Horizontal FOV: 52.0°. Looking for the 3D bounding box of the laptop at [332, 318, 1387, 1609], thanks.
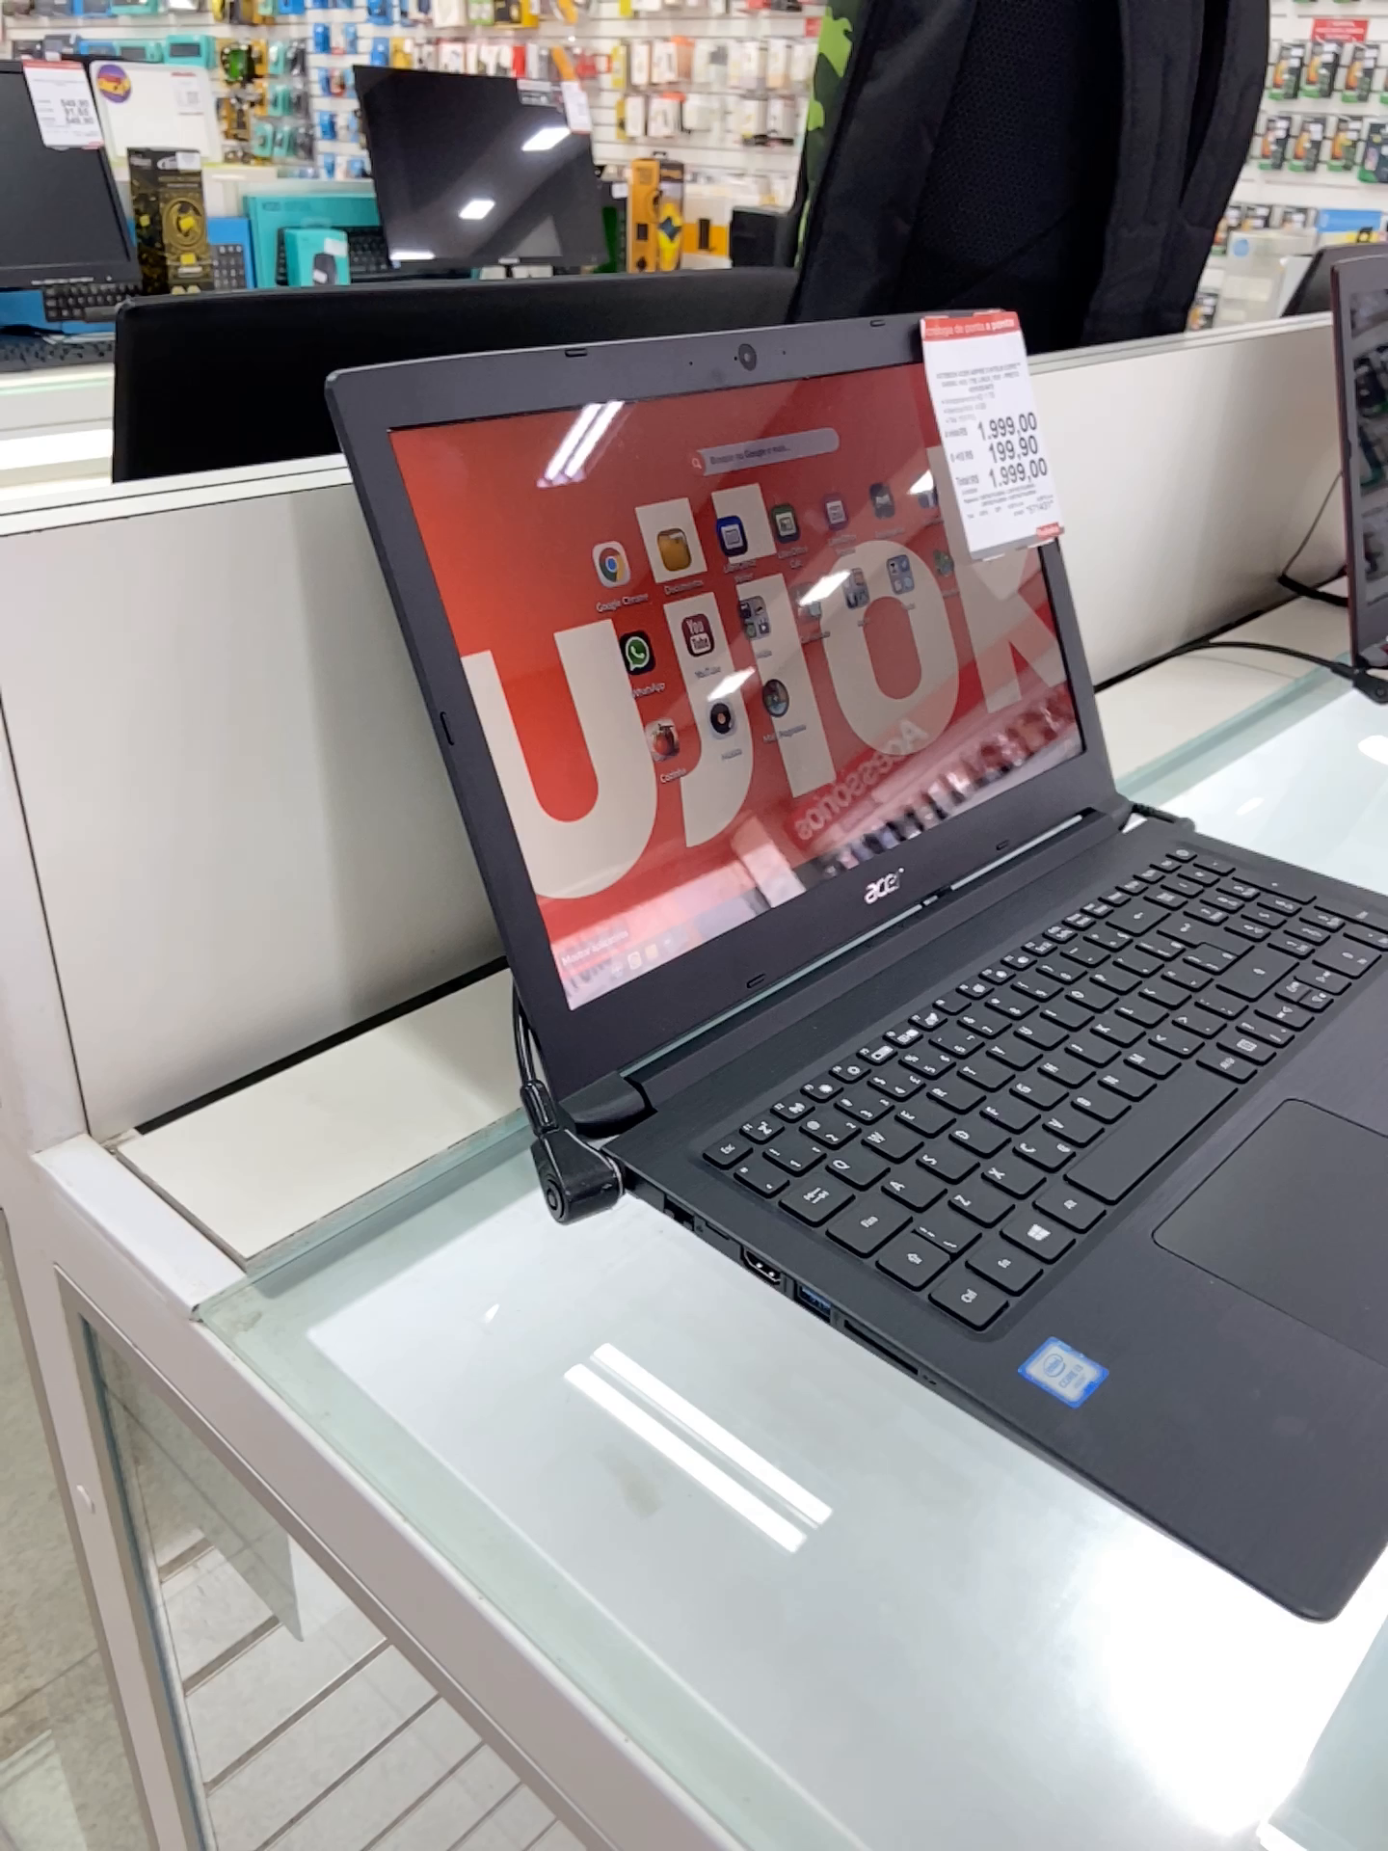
[{"bbox_3d":[0.154,-0.070,0.513,0.370,0.230,0.393,25,36,36],"label":"laptop"}]
